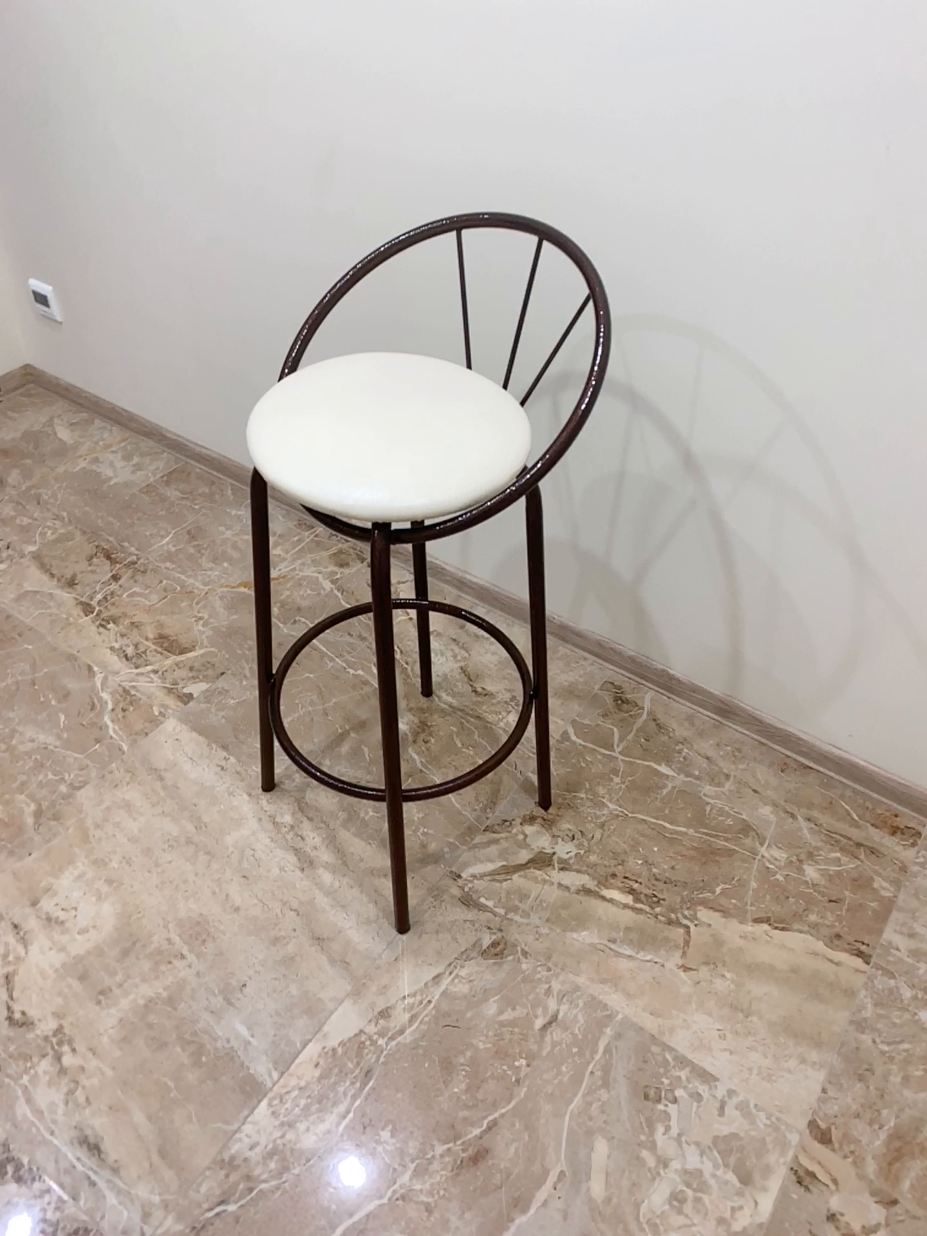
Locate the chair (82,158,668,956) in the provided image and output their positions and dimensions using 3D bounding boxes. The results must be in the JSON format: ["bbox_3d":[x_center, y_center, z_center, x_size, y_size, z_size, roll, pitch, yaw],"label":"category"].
[{"bbox_3d":[-0.093,-0.045,1.193,0.401,0.835,0.401,-32,52,-30],"label":"chair"}]
